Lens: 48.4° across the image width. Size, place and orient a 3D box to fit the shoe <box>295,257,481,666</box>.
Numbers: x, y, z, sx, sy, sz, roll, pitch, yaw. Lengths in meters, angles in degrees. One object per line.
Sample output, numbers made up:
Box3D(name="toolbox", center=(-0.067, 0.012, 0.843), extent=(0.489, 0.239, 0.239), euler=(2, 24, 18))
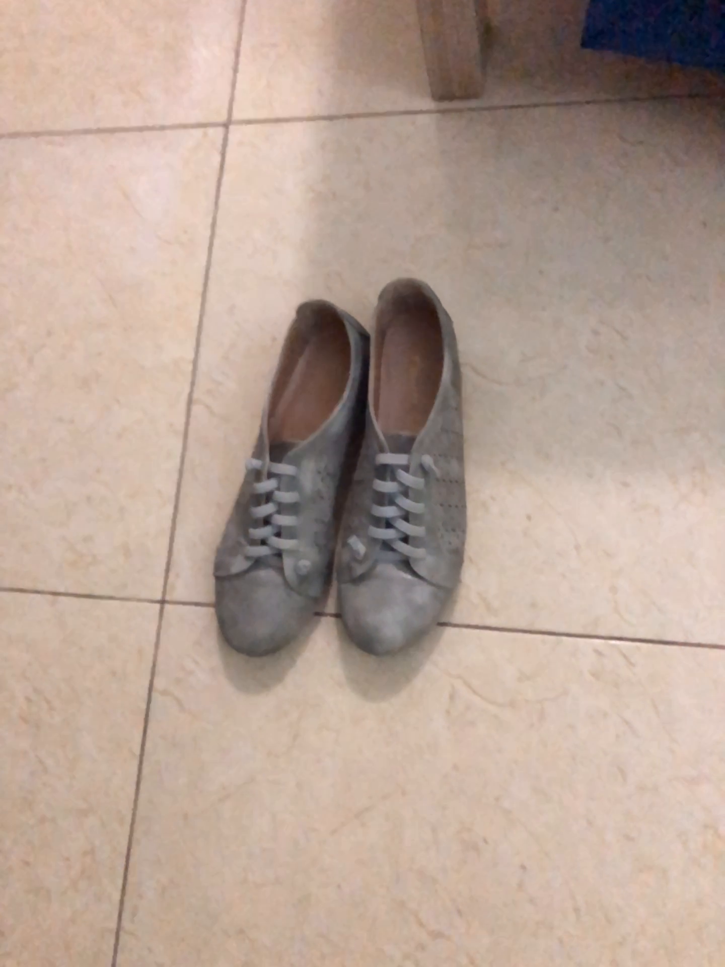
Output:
Box3D(name="shoe", center=(0.027, -0.015, 0.614), extent=(0.100, 0.100, 0.290), euler=(3, 78, 13))

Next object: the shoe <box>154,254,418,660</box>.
Box3D(name="shoe", center=(-0.051, -0.018, 0.637), extent=(0.100, 0.100, 0.290), euler=(15, 80, 15))
